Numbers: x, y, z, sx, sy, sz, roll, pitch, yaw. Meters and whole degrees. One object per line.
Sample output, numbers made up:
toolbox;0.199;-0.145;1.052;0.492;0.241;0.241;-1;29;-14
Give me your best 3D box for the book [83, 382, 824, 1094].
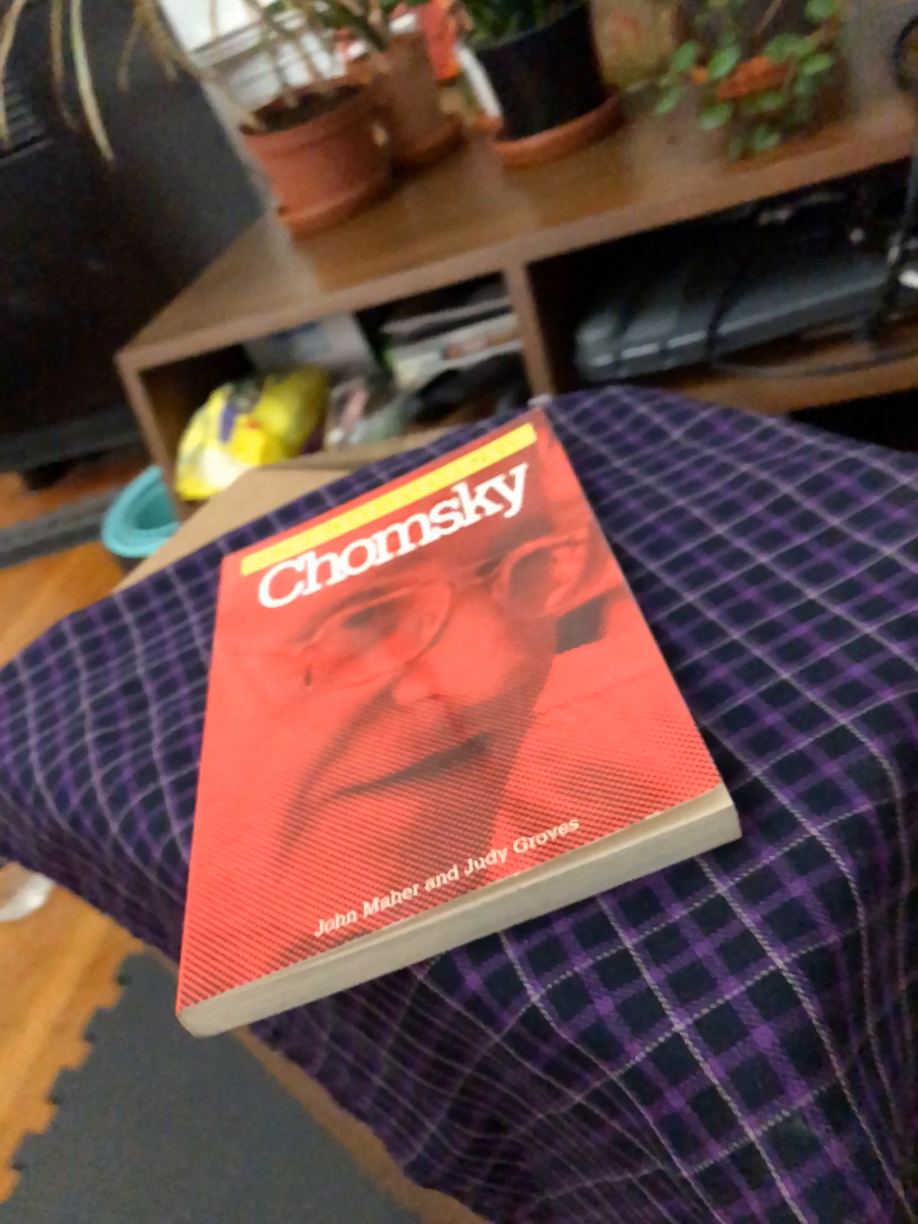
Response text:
book;-0.019;0.012;0.340;0.180;0.020;0.241;-22;34;6
